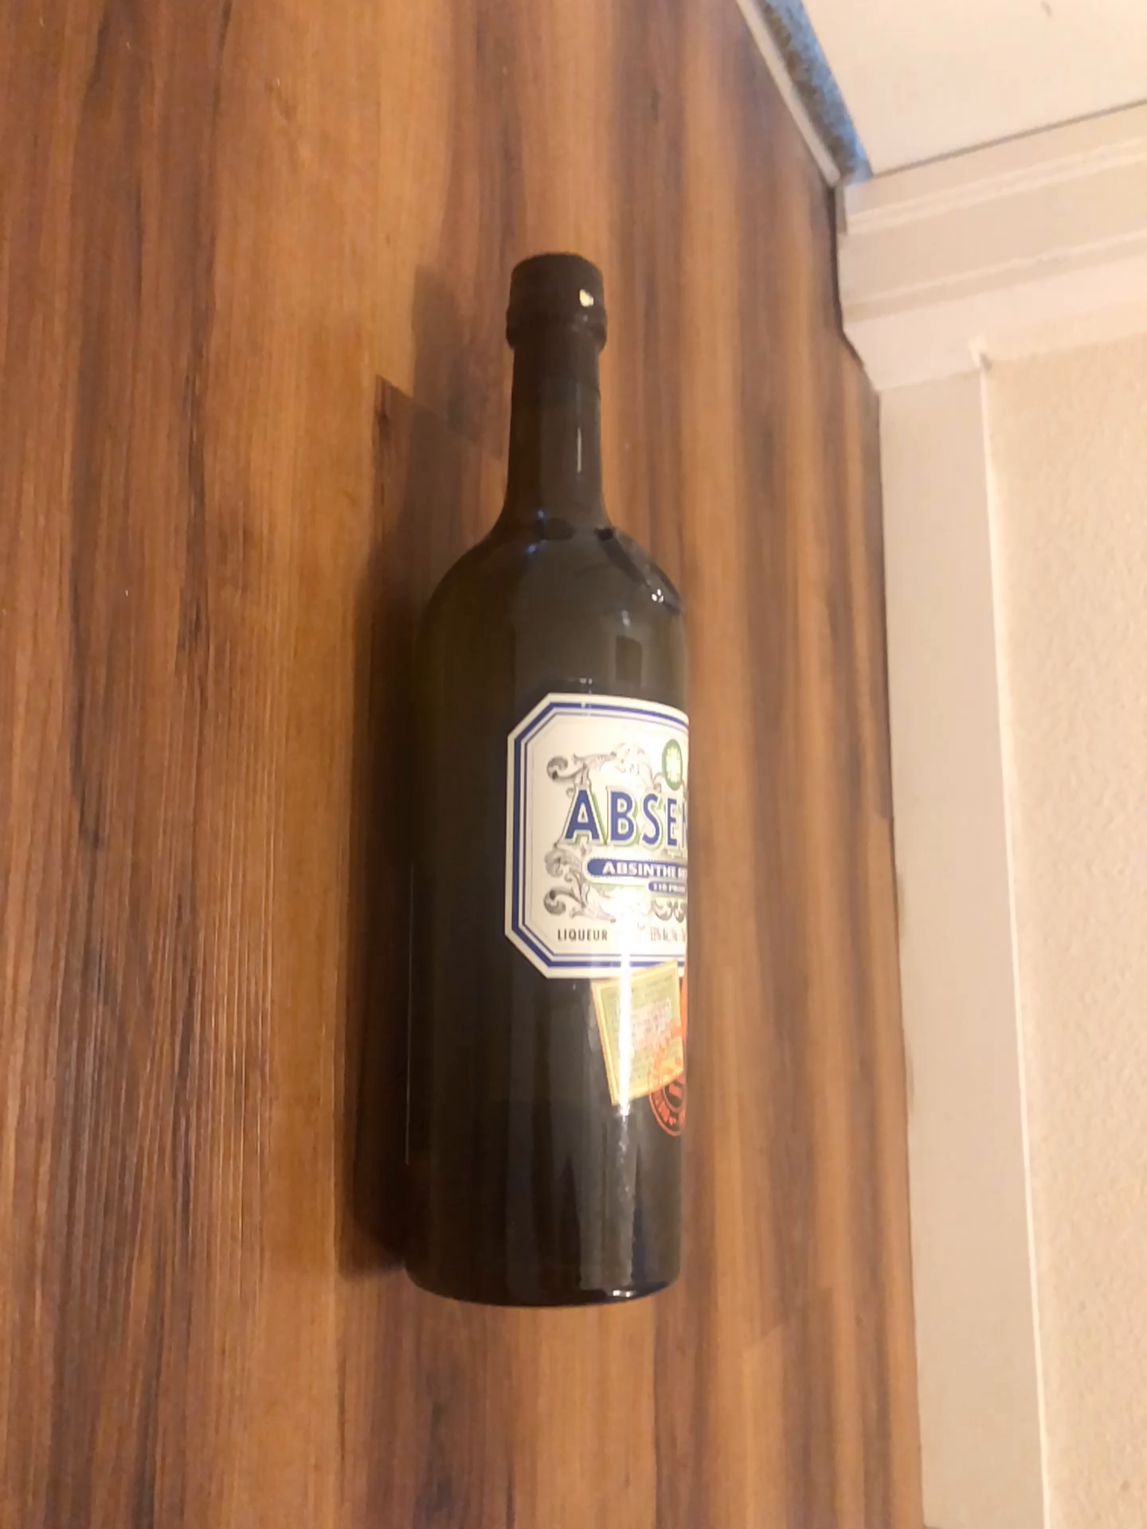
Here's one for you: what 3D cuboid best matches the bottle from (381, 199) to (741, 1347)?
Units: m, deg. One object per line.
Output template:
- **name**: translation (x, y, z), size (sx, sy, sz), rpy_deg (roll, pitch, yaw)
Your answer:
- **bottle**: translation (-0.002, 0.000, 0.378), size (0.081, 0.070, 0.300), rpy_deg (19, 69, -61)
